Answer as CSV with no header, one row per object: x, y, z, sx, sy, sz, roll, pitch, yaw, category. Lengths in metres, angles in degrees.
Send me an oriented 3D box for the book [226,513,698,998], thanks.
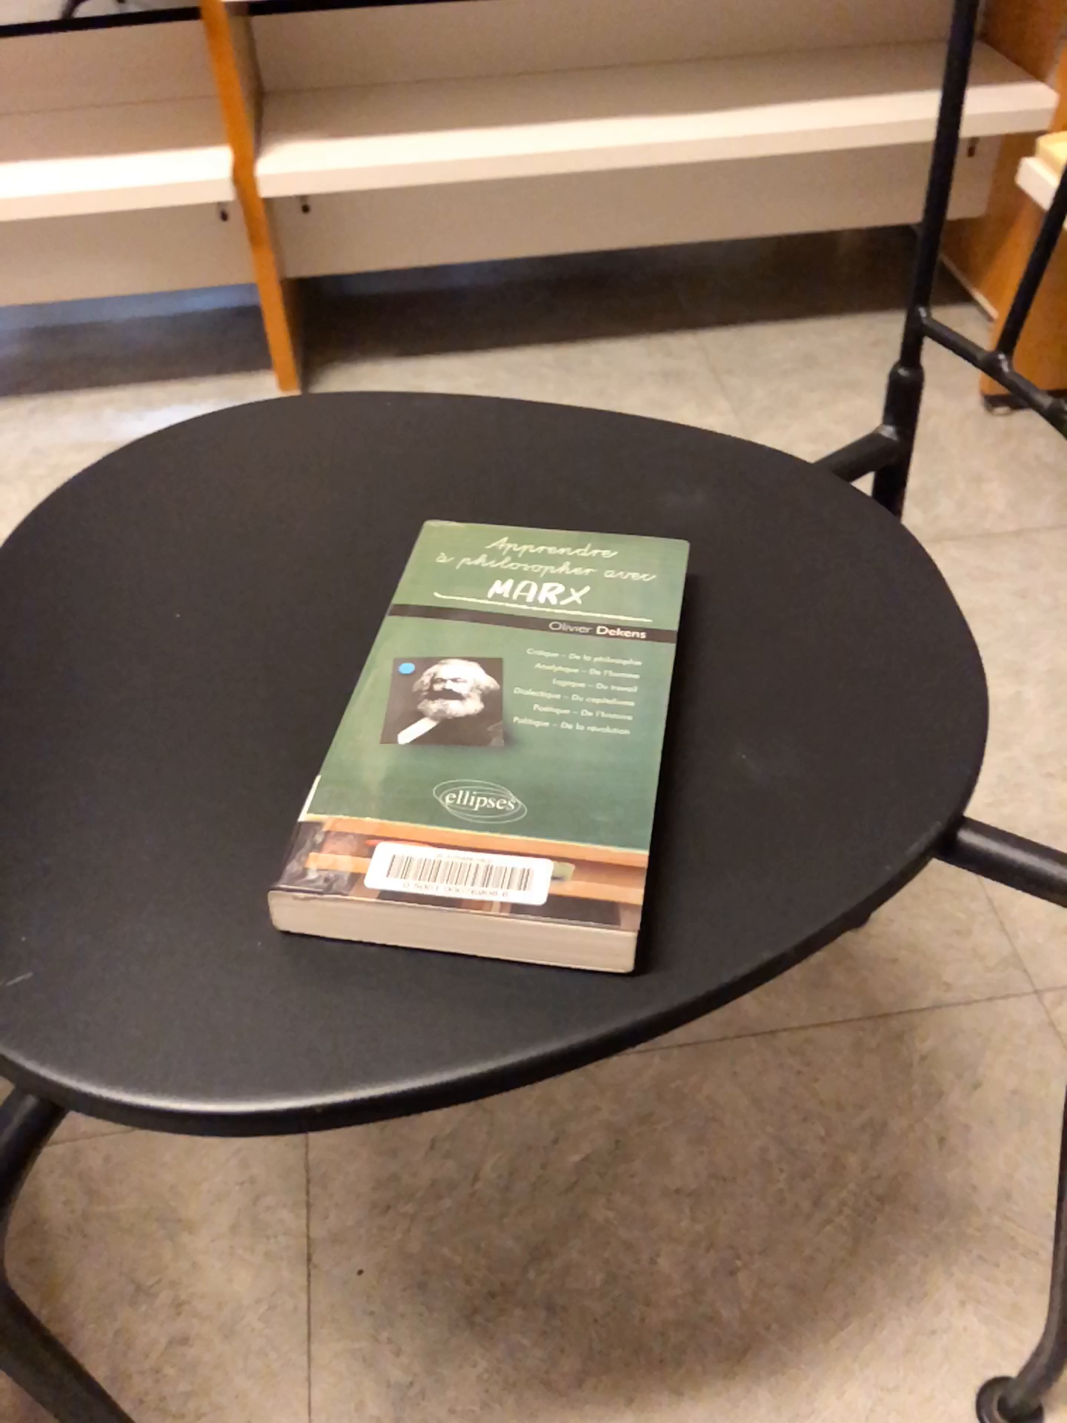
-0.011,0.001,0.377,0.110,0.024,0.178,6,45,9,book
